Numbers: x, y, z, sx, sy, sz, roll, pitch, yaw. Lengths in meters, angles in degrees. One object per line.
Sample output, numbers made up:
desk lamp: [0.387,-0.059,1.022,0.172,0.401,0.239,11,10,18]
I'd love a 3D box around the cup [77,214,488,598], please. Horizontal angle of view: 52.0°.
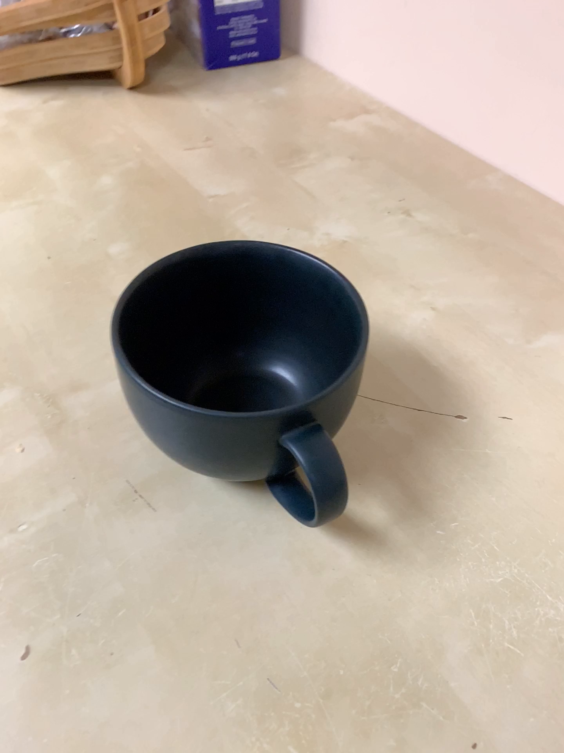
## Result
cup: [-0.007,0.001,0.306,0.135,0.068,0.159,-25,53,-23]
